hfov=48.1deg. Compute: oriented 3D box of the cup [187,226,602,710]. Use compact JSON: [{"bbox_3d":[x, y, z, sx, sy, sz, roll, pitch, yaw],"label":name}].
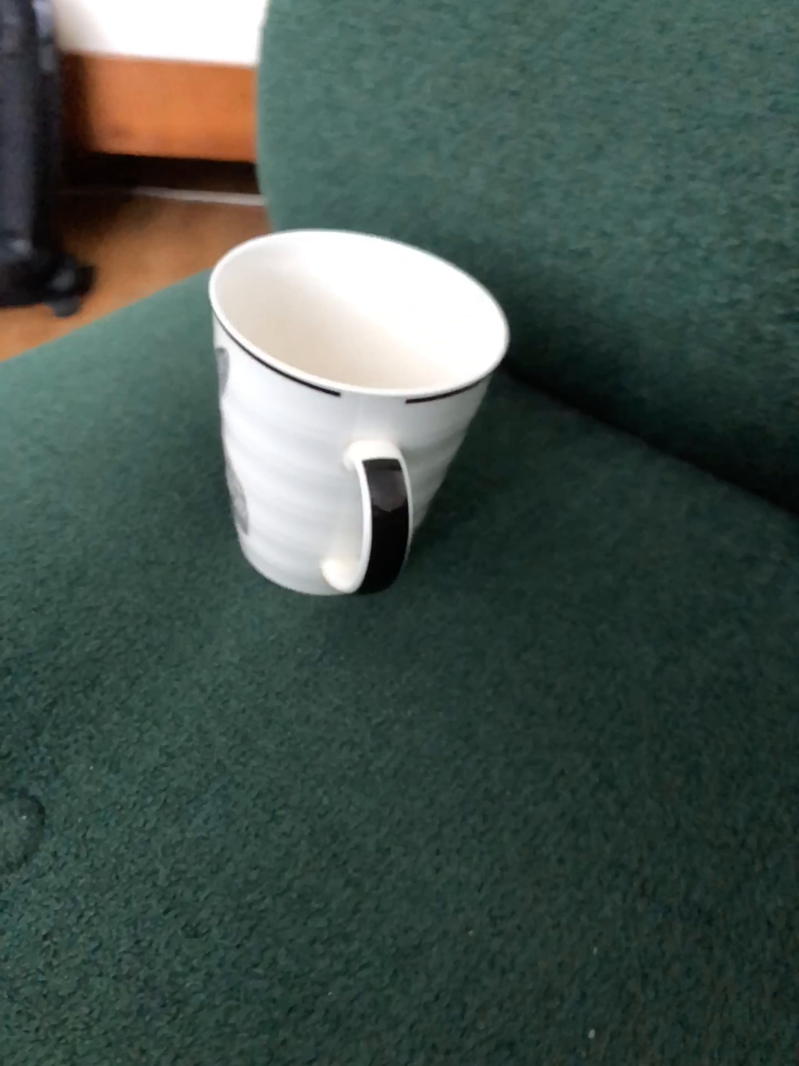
[{"bbox_3d":[-0.014,-0.026,0.290,0.095,0.095,0.121,-4,44,-15],"label":"cup"}]
